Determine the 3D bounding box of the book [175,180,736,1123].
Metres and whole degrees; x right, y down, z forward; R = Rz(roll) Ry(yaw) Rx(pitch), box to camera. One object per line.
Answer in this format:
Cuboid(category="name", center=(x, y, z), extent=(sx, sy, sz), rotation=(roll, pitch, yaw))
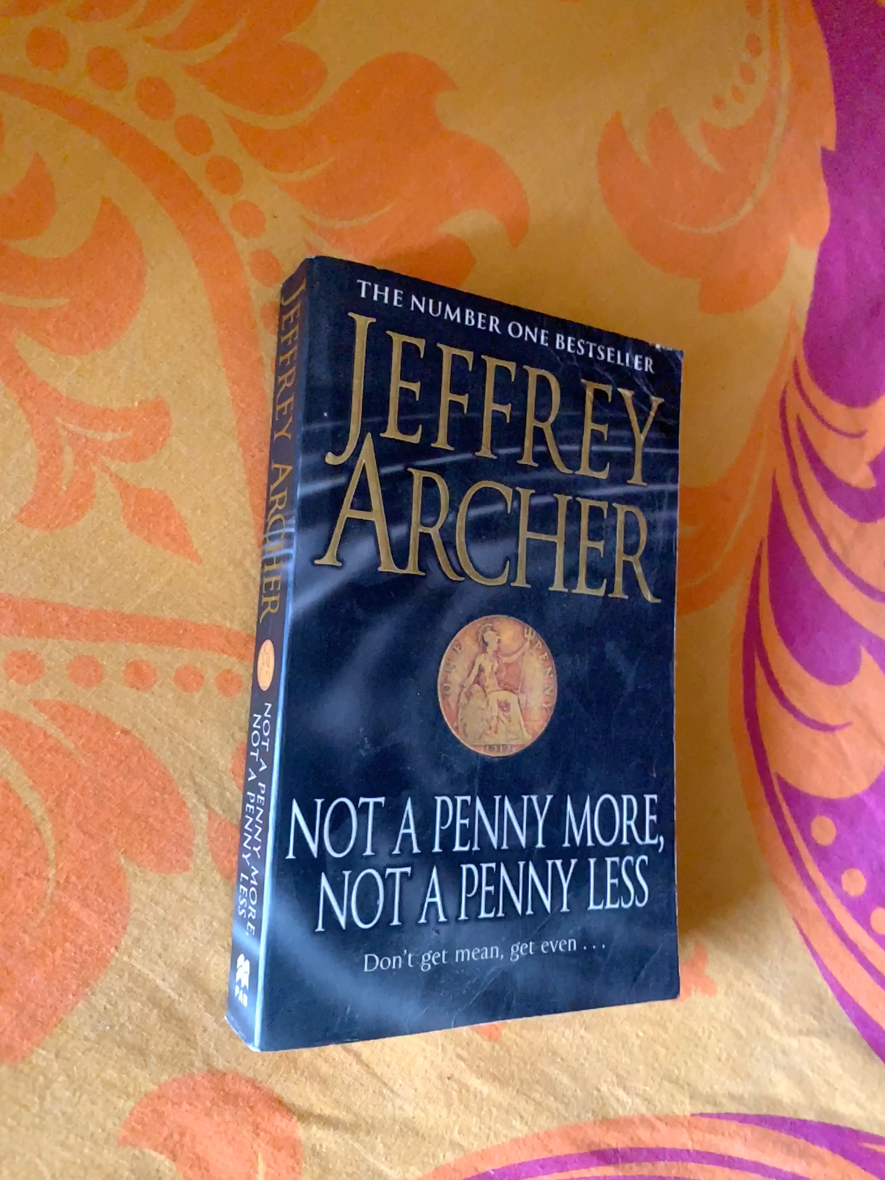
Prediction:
Cuboid(category="book", center=(0.008, 0.011, 0.195), extent=(0.110, 0.030, 0.160), rotation=(6, 80, -27))
